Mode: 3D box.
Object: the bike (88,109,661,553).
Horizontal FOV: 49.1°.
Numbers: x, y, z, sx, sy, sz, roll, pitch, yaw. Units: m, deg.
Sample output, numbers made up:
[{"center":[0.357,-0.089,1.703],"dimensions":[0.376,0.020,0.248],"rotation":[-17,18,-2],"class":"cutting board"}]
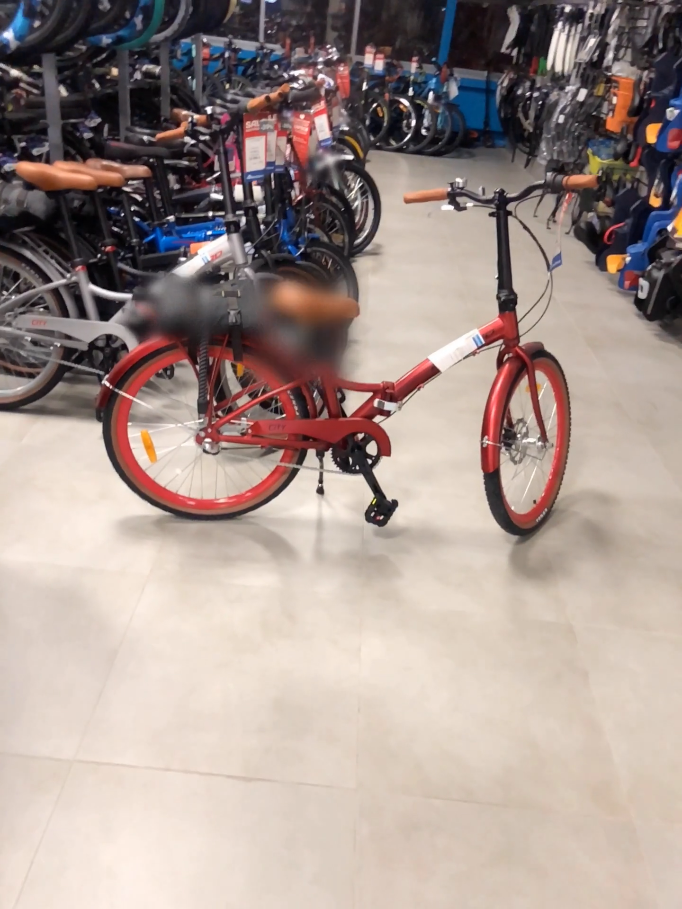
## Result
[{"center":[0.046,-0.430,2.317],"dimensions":[1.495,1.111,0.519],"rotation":[-6,31,-16],"class":"bike"}]
